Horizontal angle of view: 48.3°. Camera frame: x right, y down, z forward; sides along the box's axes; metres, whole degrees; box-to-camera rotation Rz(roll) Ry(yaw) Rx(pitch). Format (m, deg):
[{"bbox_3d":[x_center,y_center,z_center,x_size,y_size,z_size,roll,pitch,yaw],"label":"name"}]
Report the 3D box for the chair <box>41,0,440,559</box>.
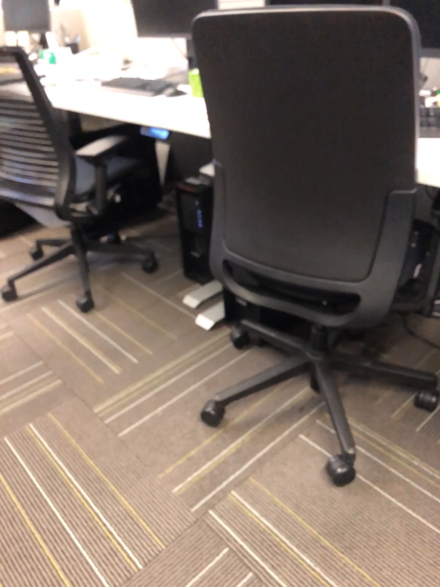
[{"bbox_3d":[0.166,-0.145,1.205,0.662,1.014,0.782,-28,38,-34],"label":"chair"}]
